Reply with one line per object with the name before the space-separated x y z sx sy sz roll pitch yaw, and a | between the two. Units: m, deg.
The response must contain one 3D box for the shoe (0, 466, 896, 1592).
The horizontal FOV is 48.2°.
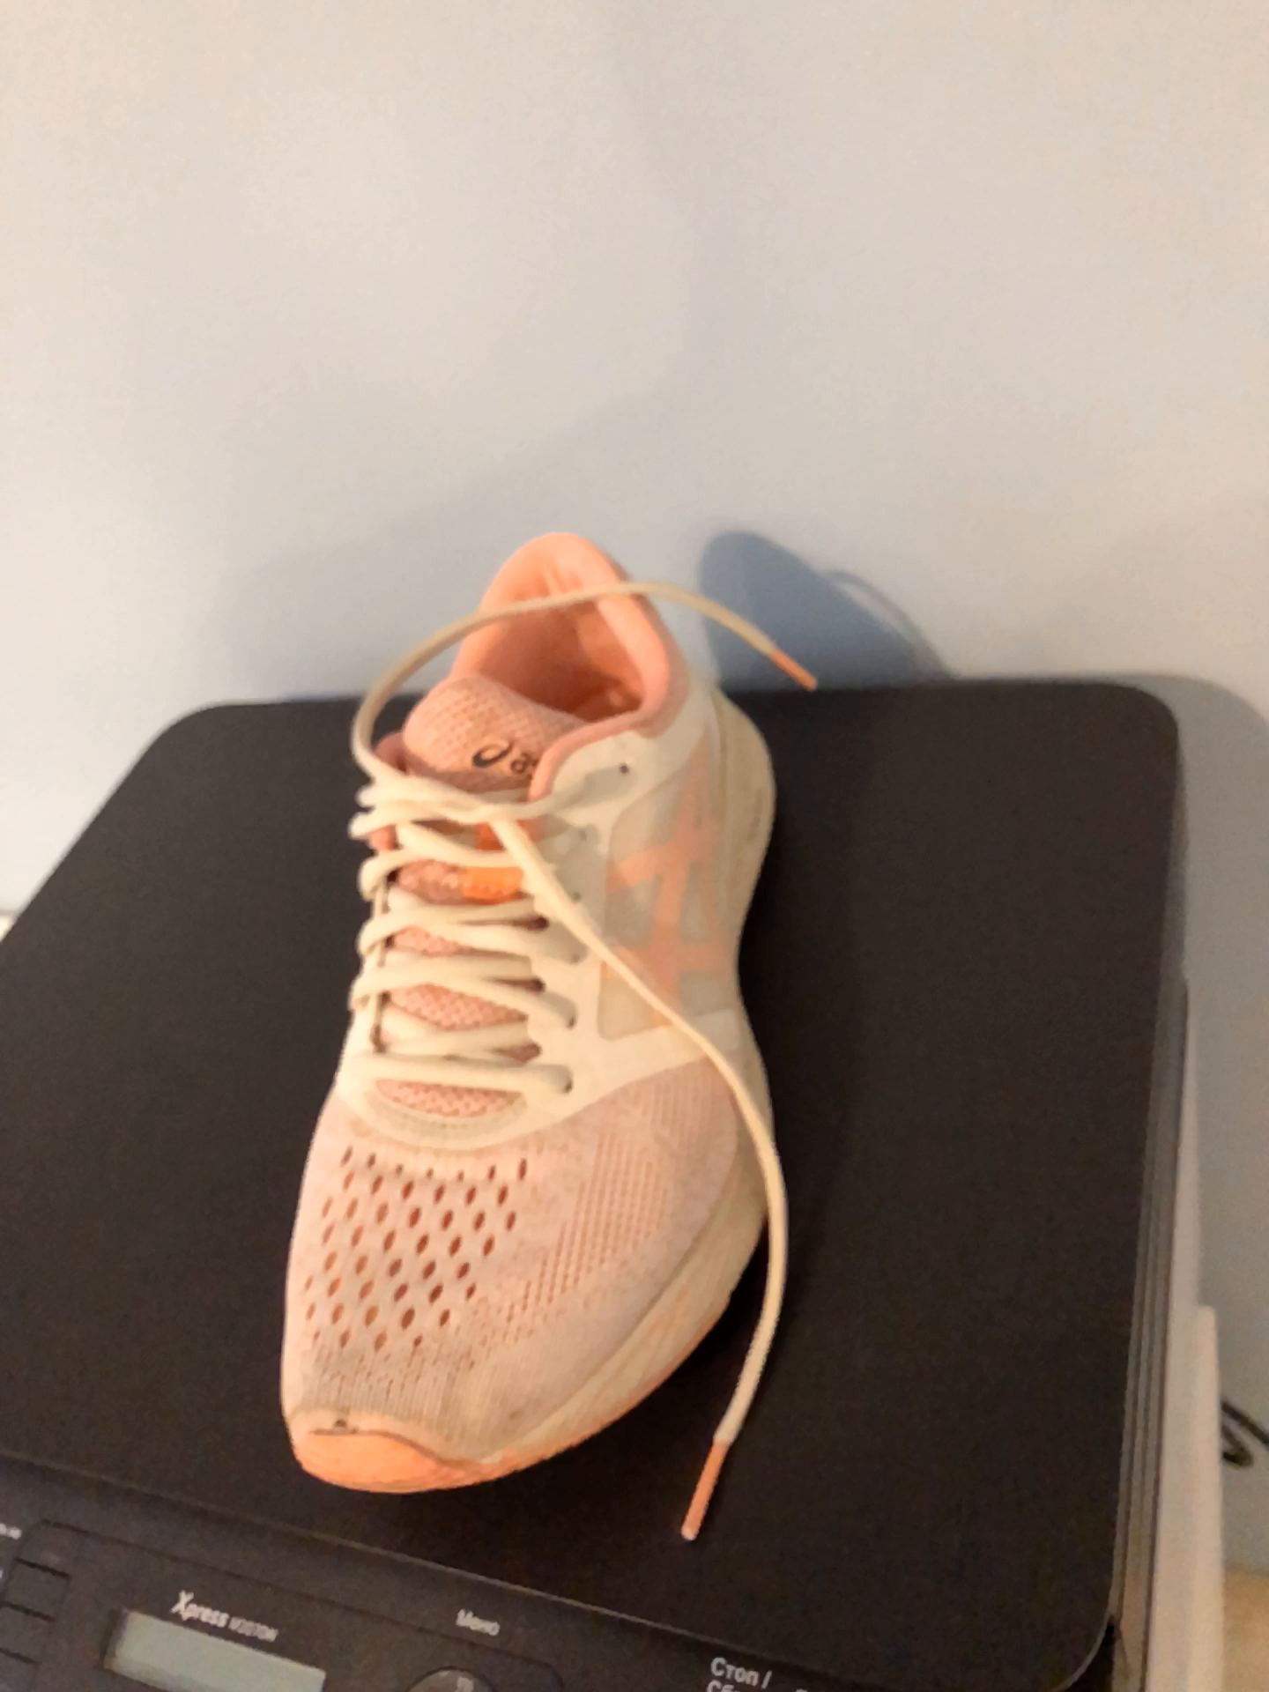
shoe | -0.017 0.022 0.348 0.116 0.089 0.254 -1 45 22
